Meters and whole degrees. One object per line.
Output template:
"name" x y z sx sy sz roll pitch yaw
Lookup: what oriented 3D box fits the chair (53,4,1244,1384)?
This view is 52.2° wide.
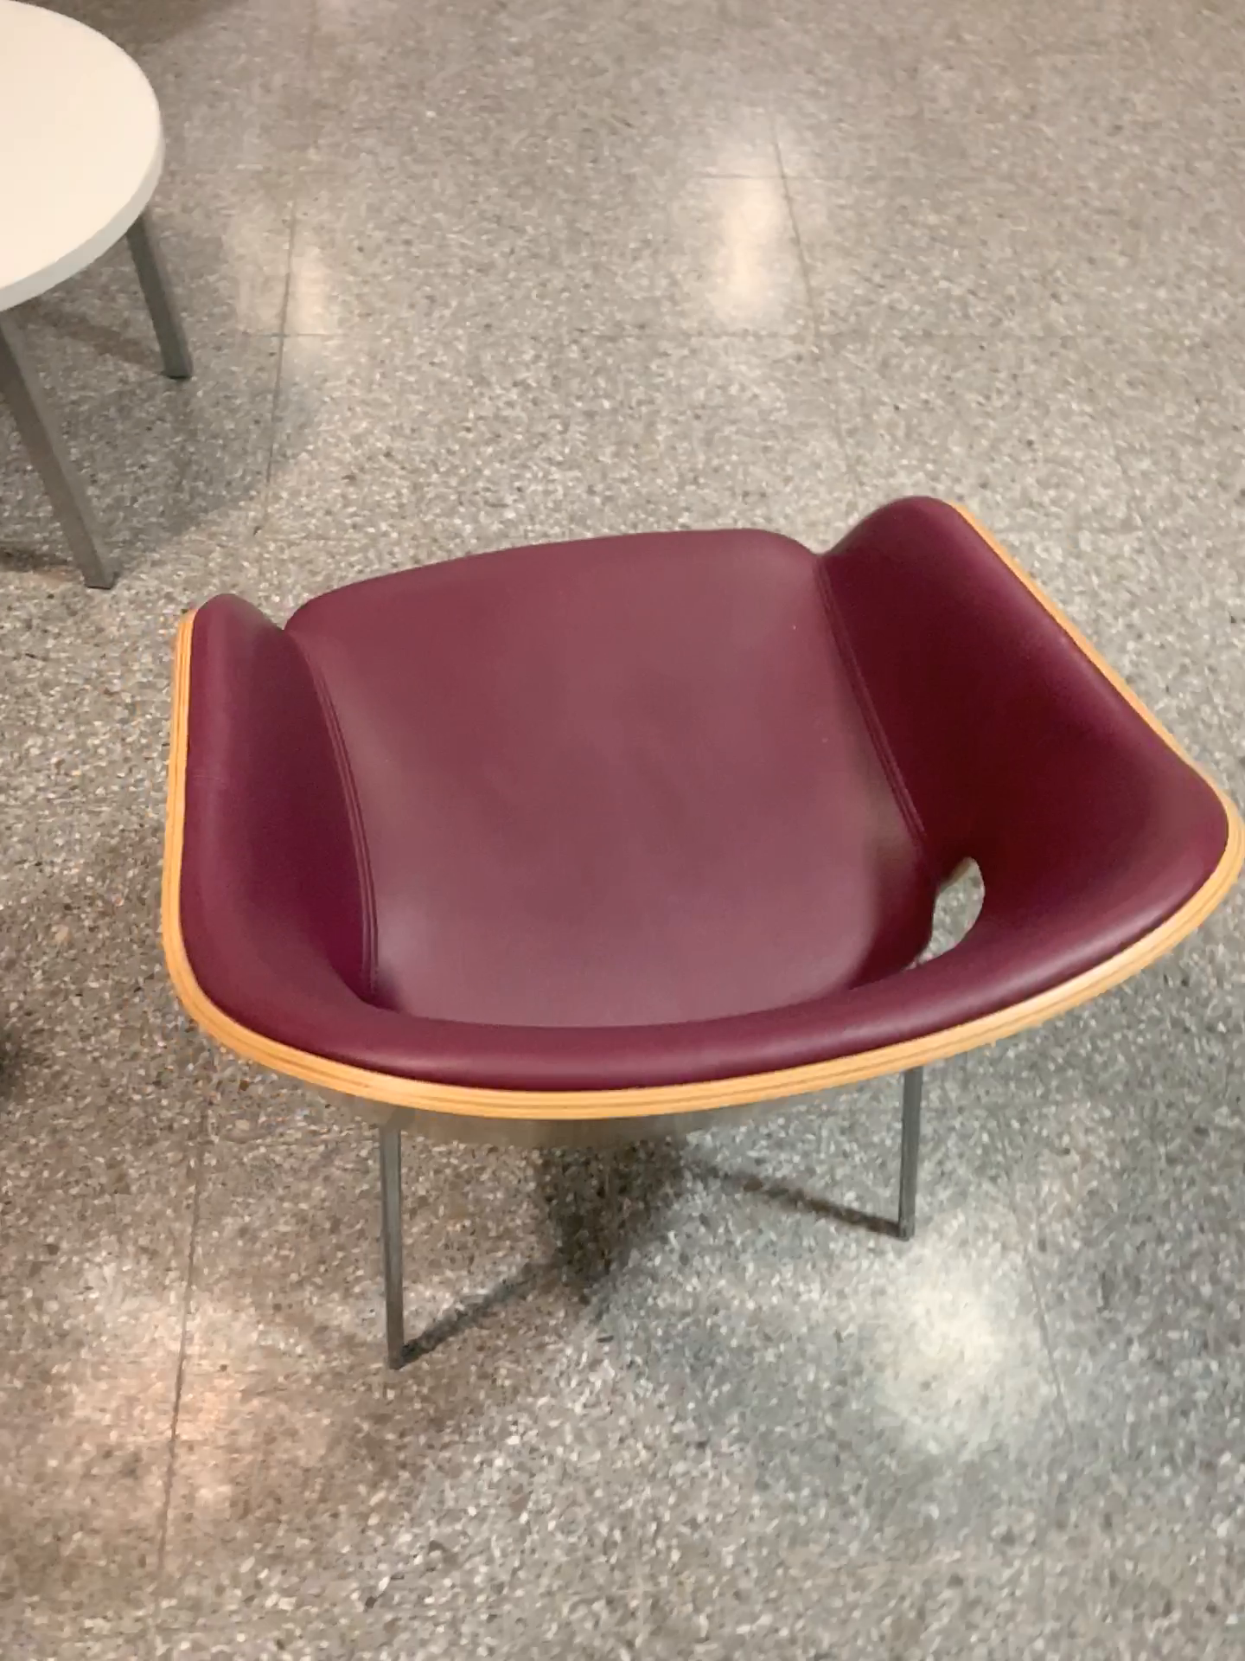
"chair" -0.003 -0.044 0.953 0.570 0.735 0.634 -10 60 -10
